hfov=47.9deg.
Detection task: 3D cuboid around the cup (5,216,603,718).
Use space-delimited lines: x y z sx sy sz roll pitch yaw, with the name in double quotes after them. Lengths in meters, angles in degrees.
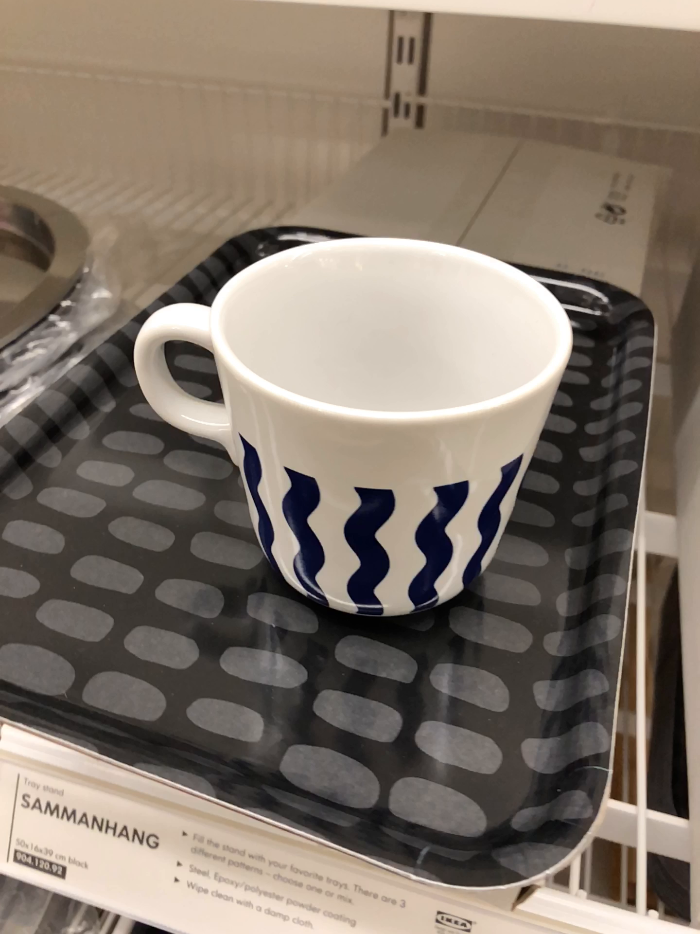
-0.004 -0.007 0.211 0.120 0.080 0.090 9 37 10 "cup"
